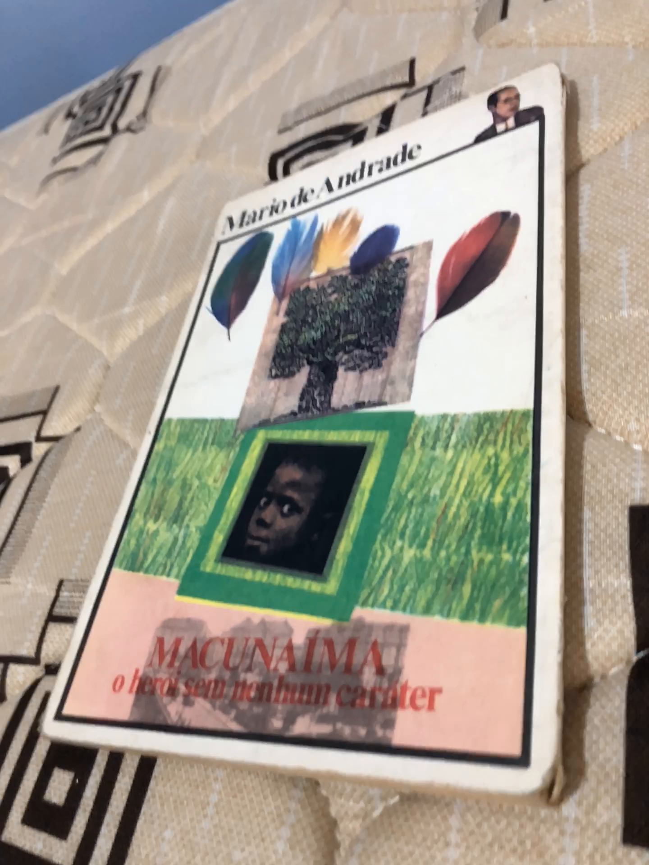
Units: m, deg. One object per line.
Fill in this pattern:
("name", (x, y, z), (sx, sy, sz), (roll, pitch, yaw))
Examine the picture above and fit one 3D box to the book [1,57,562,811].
("book", (-0.004, -0.012, 0.199), (0.130, 0.020, 0.190), (-10, 53, 32))
